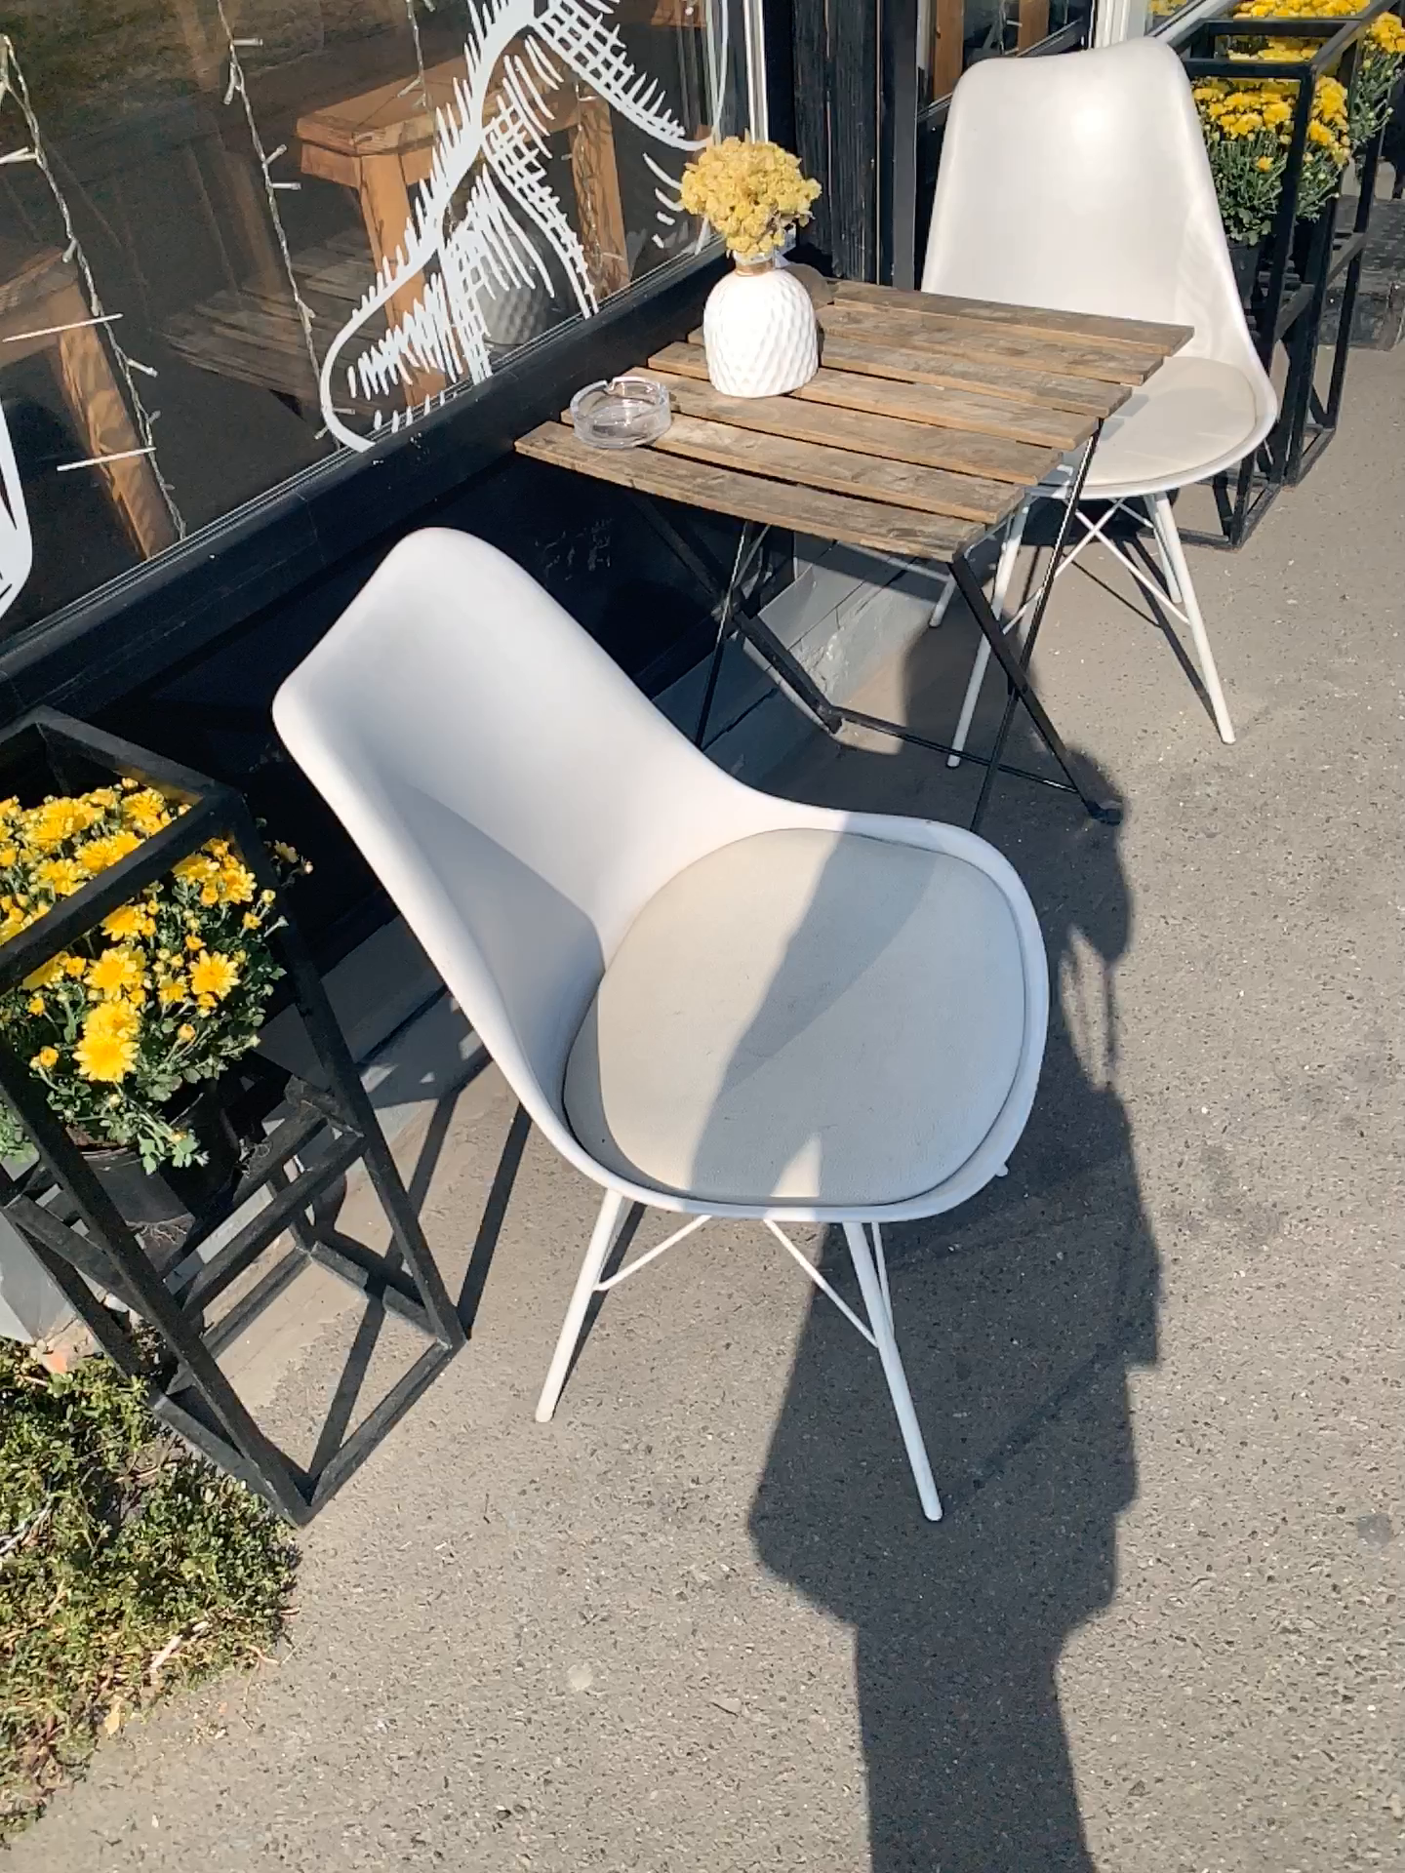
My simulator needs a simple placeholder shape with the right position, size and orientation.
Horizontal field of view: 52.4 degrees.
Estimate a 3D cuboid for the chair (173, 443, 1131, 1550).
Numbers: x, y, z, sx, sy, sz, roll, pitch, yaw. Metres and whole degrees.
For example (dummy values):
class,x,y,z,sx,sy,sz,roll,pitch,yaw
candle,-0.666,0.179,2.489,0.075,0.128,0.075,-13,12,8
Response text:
class,x,y,z,sx,sy,sz,roll,pitch,yaw
chair,0.037,0.066,1.215,0.530,0.776,0.482,6,45,14
